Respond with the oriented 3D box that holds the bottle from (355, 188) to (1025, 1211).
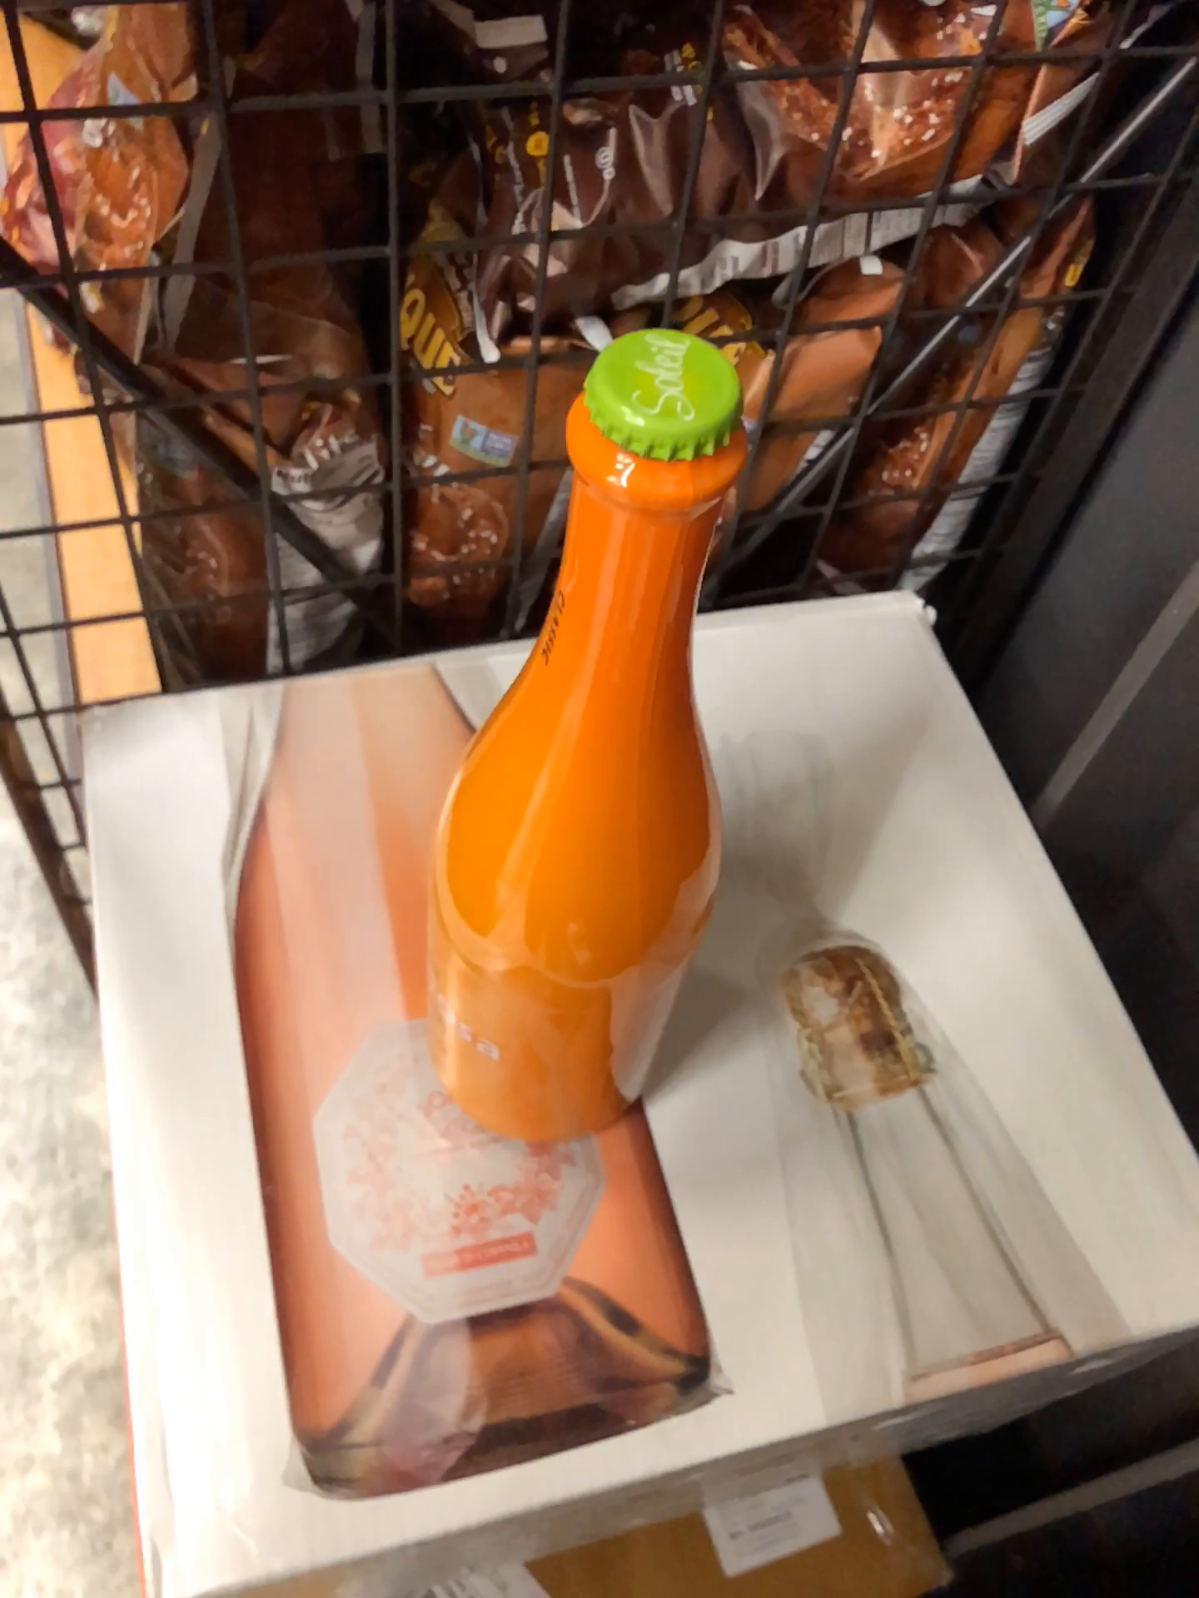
[{"bbox_3d":[-0.004,0.004,0.339,0.090,0.279,0.090,4,54,-5],"label":"bottle"}]
